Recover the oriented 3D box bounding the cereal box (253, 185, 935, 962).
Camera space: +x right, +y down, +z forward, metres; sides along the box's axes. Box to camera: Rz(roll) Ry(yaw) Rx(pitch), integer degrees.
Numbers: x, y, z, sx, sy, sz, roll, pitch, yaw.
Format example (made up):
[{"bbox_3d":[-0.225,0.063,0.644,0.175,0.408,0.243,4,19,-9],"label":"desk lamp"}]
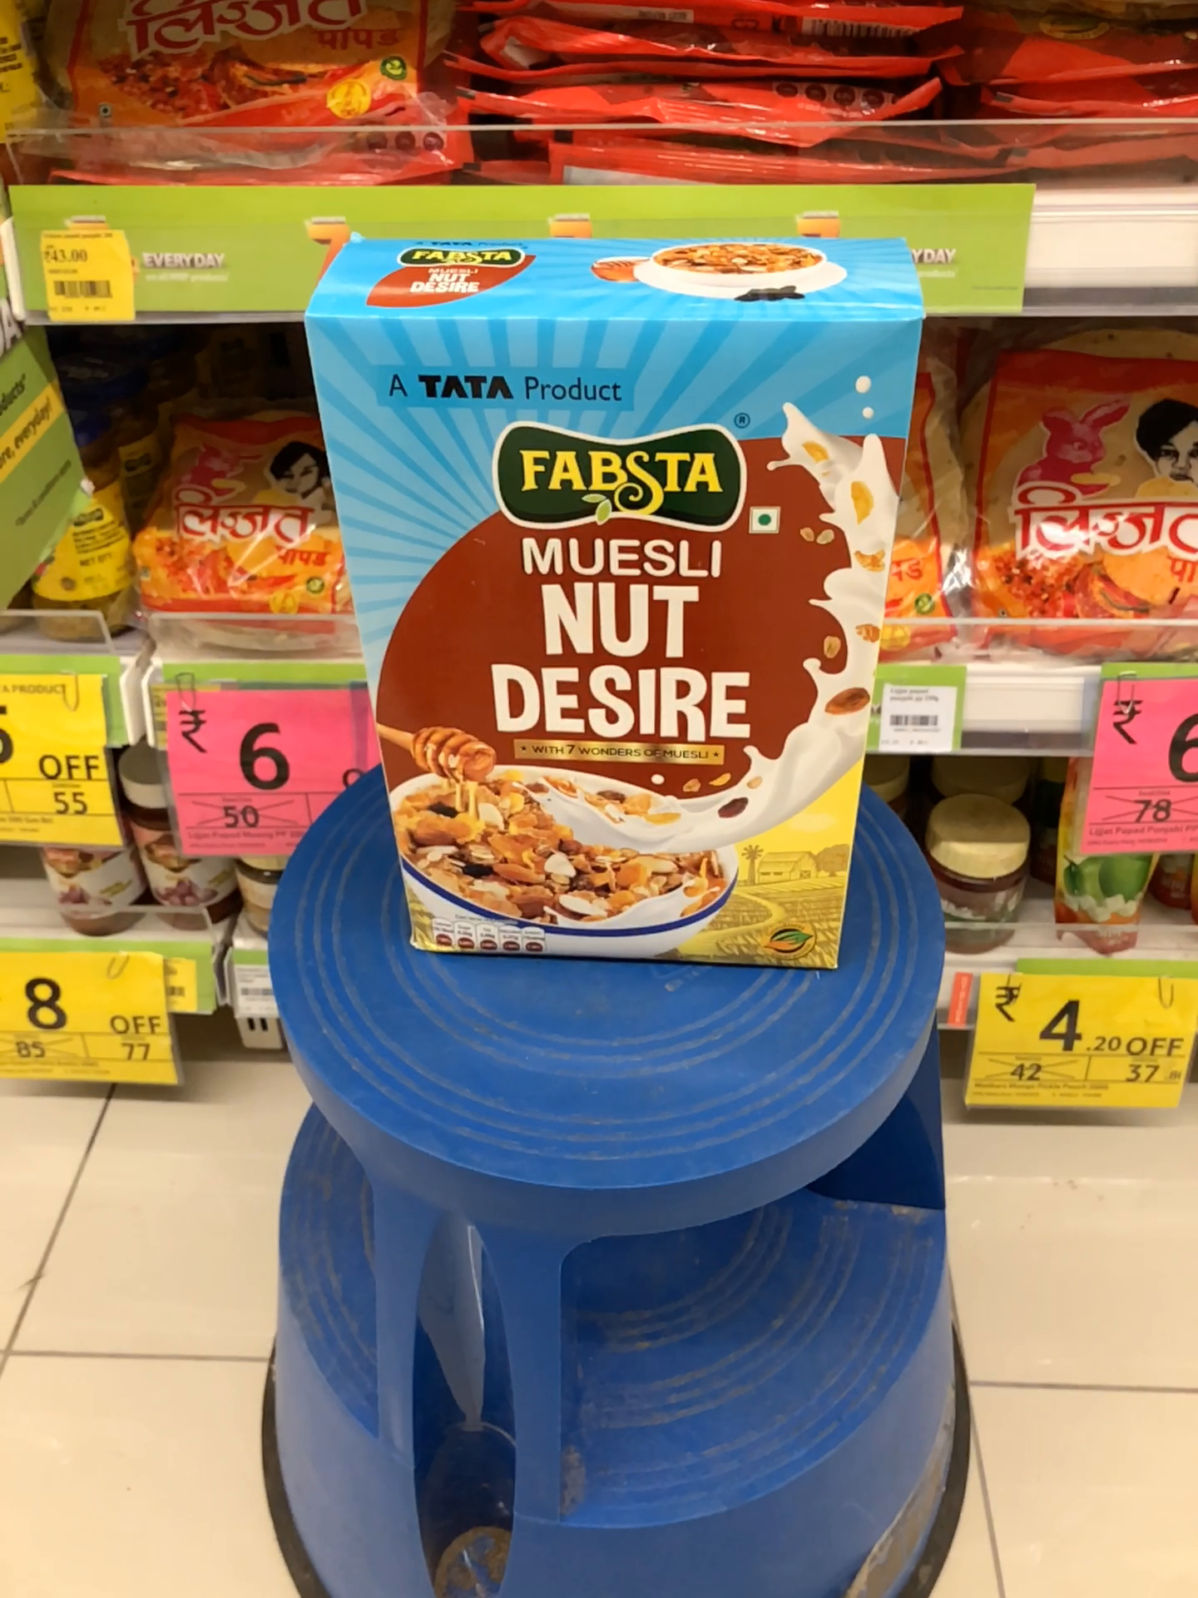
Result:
[{"bbox_3d":[0.002,-0.060,0.437,0.170,0.248,0.070,1,41,3],"label":"cereal box"}]
